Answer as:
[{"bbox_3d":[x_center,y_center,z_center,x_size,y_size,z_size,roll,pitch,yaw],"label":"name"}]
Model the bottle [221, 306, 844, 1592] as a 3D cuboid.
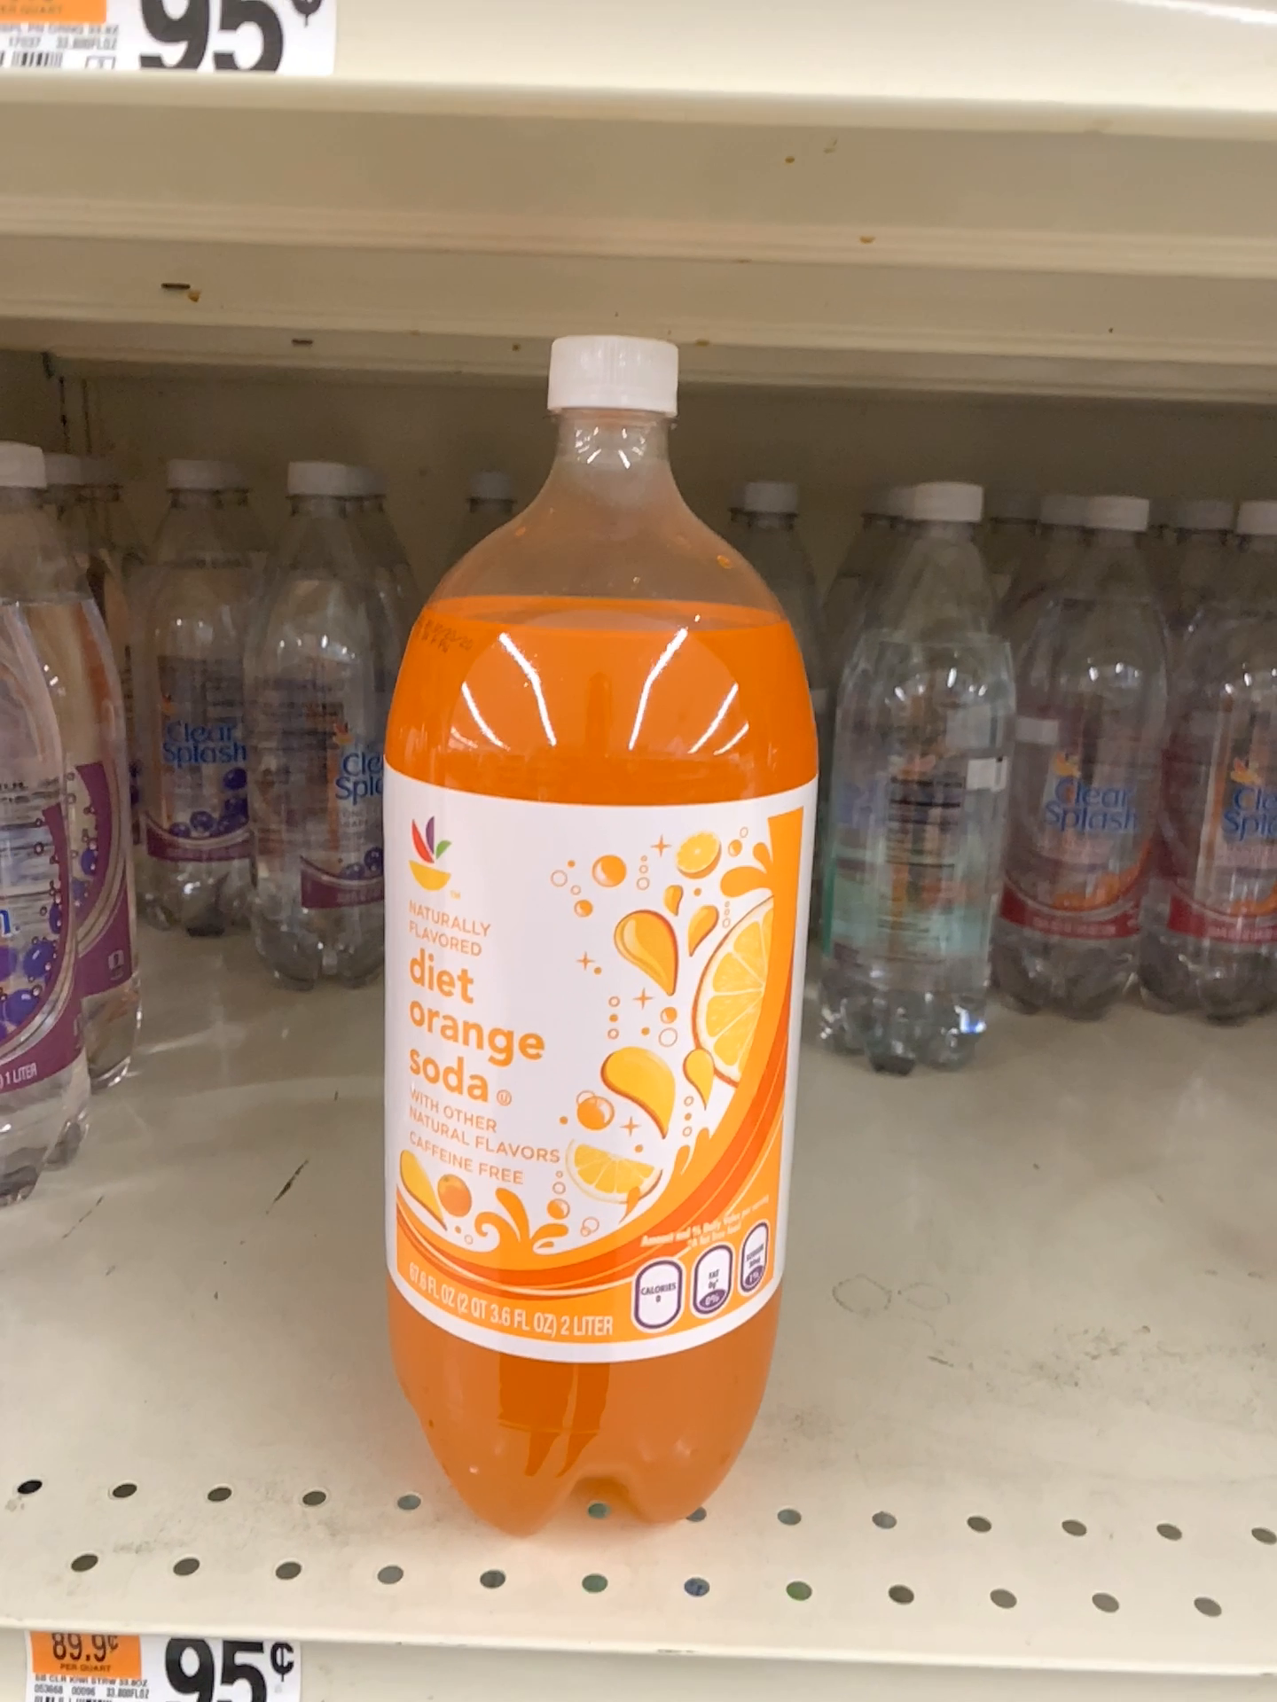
[{"bbox_3d":[-0.019,0.021,0.342,0.120,0.289,0.110,2,15,-1],"label":"bottle"}]
